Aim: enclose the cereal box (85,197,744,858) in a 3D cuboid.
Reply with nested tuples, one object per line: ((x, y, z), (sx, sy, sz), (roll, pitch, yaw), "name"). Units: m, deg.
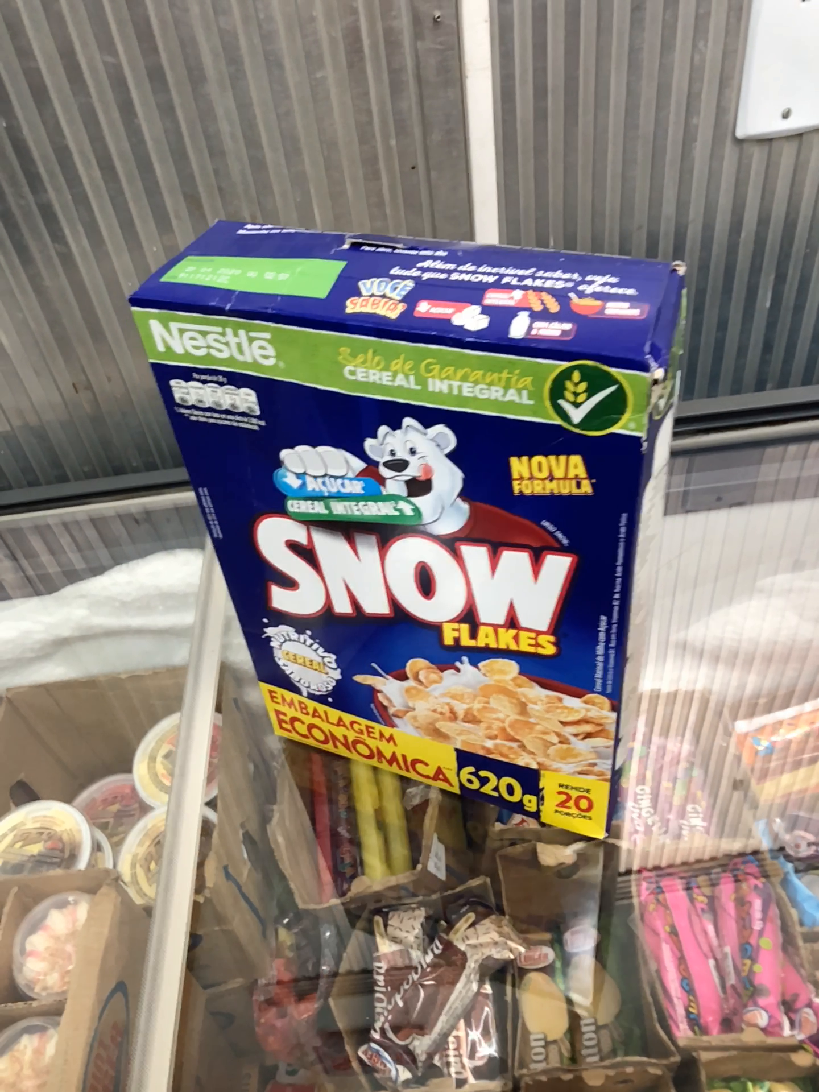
((0.012, 0.007, 0.434), (0.230, 0.308, 0.070), (13, 49, 21), "cereal box")
